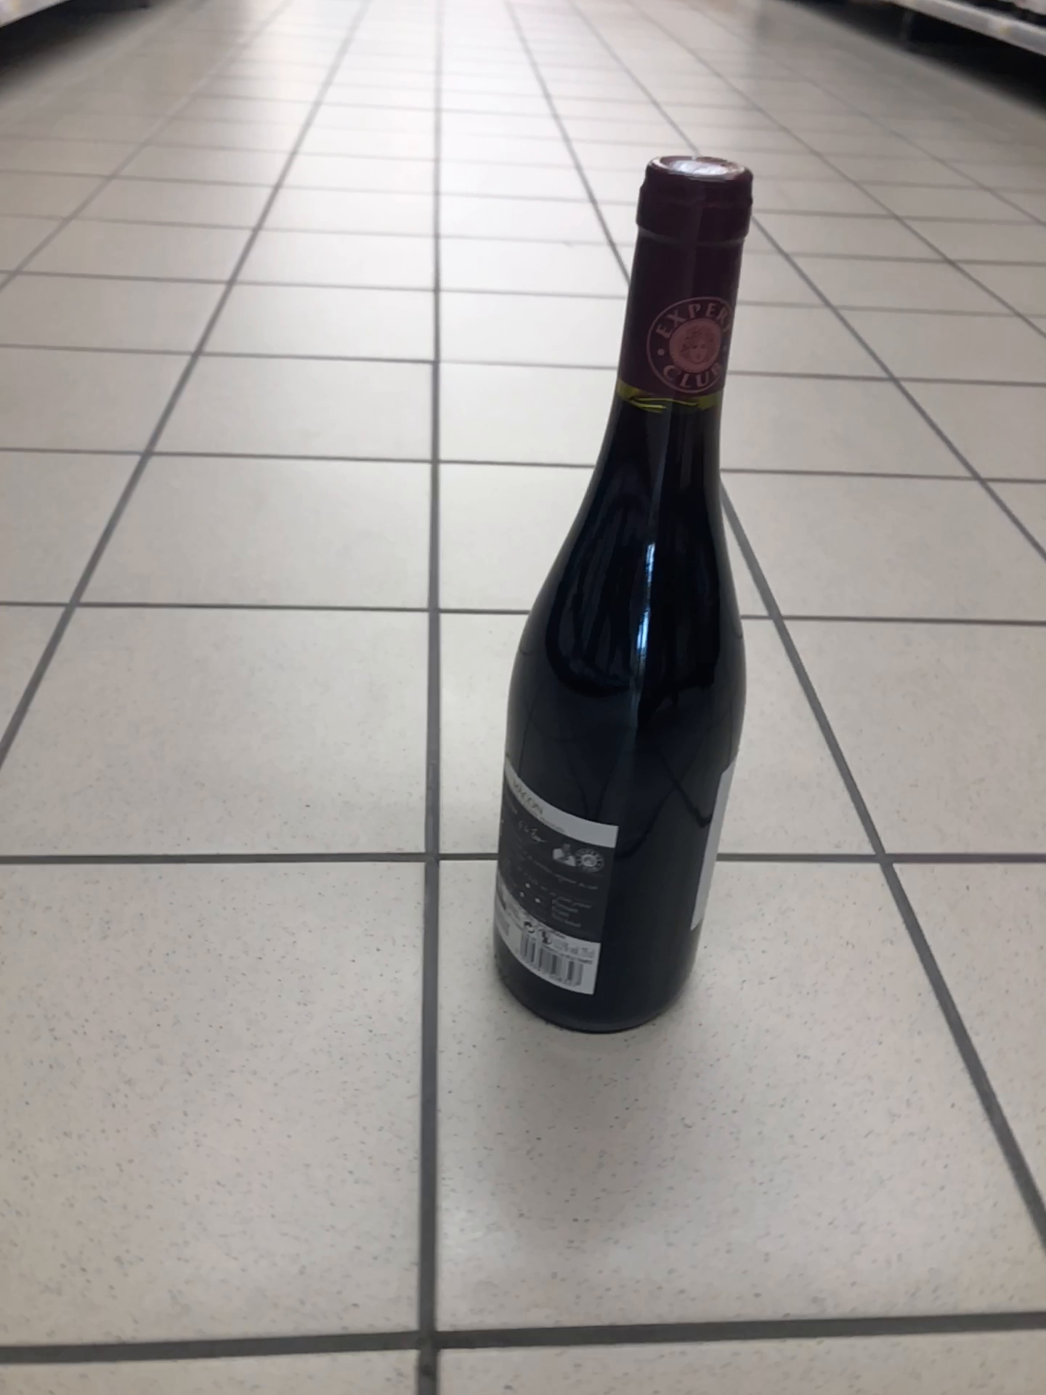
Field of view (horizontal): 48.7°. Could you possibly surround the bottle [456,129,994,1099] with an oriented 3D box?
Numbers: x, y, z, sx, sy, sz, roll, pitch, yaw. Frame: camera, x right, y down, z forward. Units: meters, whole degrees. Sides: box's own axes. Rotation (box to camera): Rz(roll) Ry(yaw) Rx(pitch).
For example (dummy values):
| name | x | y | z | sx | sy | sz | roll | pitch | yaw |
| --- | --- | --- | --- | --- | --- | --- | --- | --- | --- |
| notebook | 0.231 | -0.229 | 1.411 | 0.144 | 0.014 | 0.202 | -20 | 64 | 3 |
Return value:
| name | x | y | z | sx | sy | sz | roll | pitch | yaw |
| --- | --- | --- | --- | --- | --- | --- | --- | --- | --- |
| bottle | 0.043 | -0.014 | 0.371 | 0.090 | 0.288 | 0.090 | 3 | 35 | -2 |
